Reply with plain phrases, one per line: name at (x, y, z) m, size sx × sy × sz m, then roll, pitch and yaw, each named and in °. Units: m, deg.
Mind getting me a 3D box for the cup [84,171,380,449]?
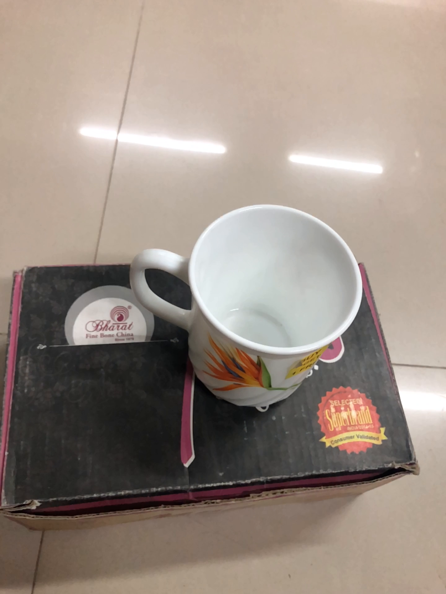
cup at (0.004, 0.011, 0.248) m, size 0.110 × 0.090 × 0.080 m, roll 16°, pitch 60°, yaw 1°
